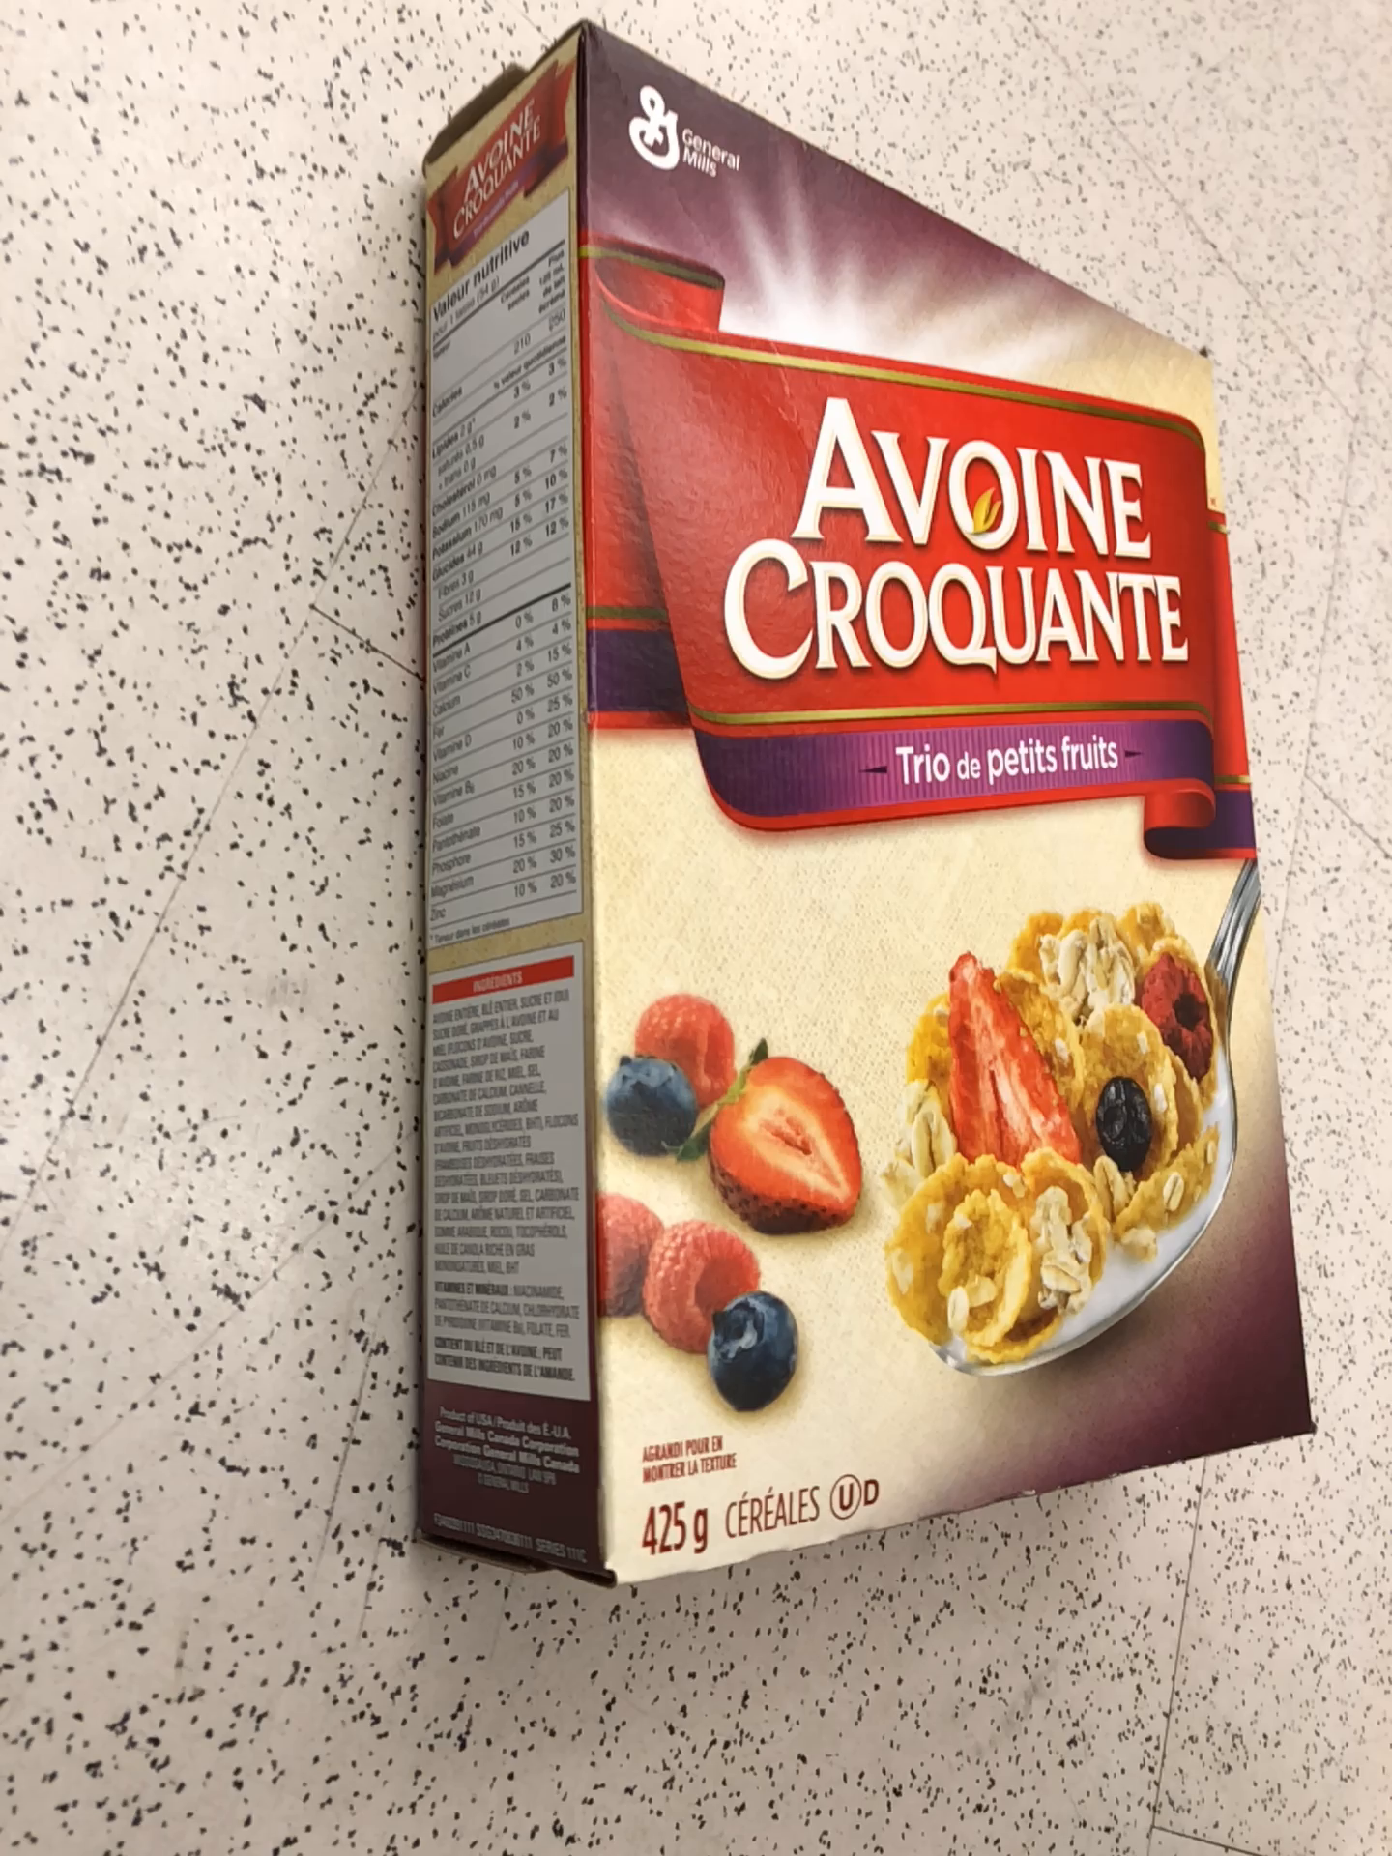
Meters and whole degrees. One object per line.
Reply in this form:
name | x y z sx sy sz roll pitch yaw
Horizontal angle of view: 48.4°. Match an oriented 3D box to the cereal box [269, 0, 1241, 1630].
cereal box | 0.021 -0.019 0.336 0.211 0.060 0.270 5 78 -39
